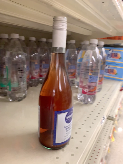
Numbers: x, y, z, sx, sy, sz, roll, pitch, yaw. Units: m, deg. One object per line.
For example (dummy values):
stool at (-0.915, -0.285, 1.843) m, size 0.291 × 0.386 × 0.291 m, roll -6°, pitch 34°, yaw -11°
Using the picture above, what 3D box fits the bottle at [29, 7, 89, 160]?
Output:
bottle at (-0.012, 0.010, 0.295) m, size 0.080 × 0.299 × 0.090 m, roll 16°, pitch 20°, yaw 34°
